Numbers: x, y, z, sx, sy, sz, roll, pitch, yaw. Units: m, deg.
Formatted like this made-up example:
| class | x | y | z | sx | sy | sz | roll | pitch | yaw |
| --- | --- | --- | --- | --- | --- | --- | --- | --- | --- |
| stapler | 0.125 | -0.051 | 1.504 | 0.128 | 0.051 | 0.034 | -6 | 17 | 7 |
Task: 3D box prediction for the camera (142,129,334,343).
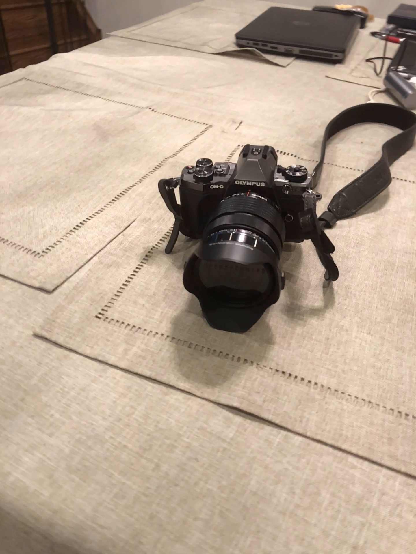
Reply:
| class | x | y | z | sx | sy | sz | roll | pitch | yaw |
| --- | --- | --- | --- | --- | --- | --- | --- | --- | --- |
| camera | 0.027 | -0.044 | 0.388 | 0.124 | 0.092 | 0.165 | 7 | 39 | 4 |
